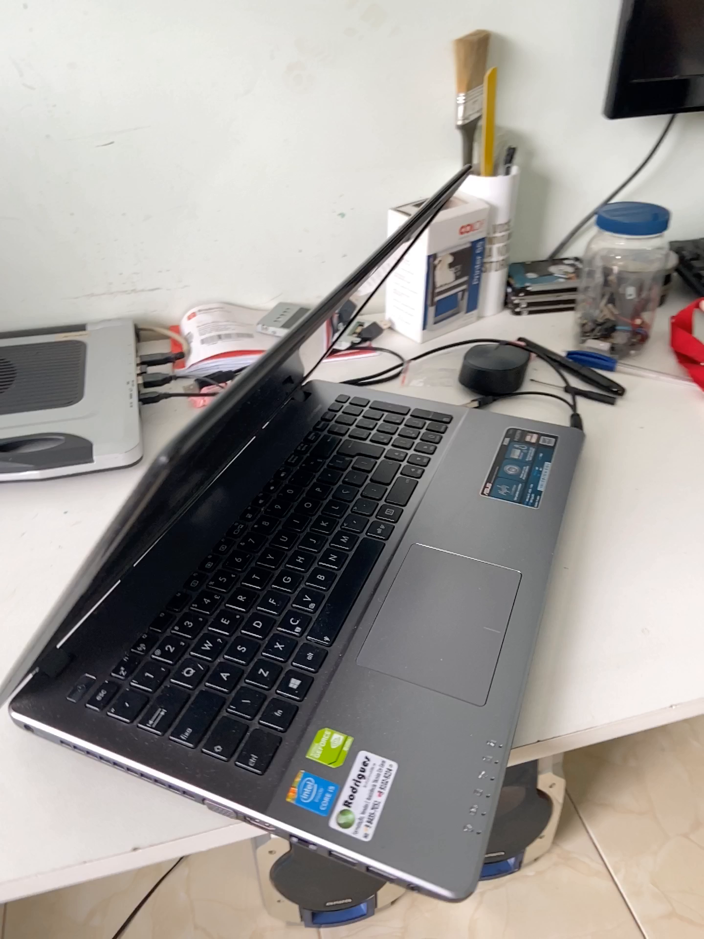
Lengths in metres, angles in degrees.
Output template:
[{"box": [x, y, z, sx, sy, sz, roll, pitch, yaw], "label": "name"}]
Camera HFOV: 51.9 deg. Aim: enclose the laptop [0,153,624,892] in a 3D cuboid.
[{"box": [-0.004, -0.031, 0.419, 0.245, 0.190, 0.367, 13, 38, 18], "label": "laptop"}]
